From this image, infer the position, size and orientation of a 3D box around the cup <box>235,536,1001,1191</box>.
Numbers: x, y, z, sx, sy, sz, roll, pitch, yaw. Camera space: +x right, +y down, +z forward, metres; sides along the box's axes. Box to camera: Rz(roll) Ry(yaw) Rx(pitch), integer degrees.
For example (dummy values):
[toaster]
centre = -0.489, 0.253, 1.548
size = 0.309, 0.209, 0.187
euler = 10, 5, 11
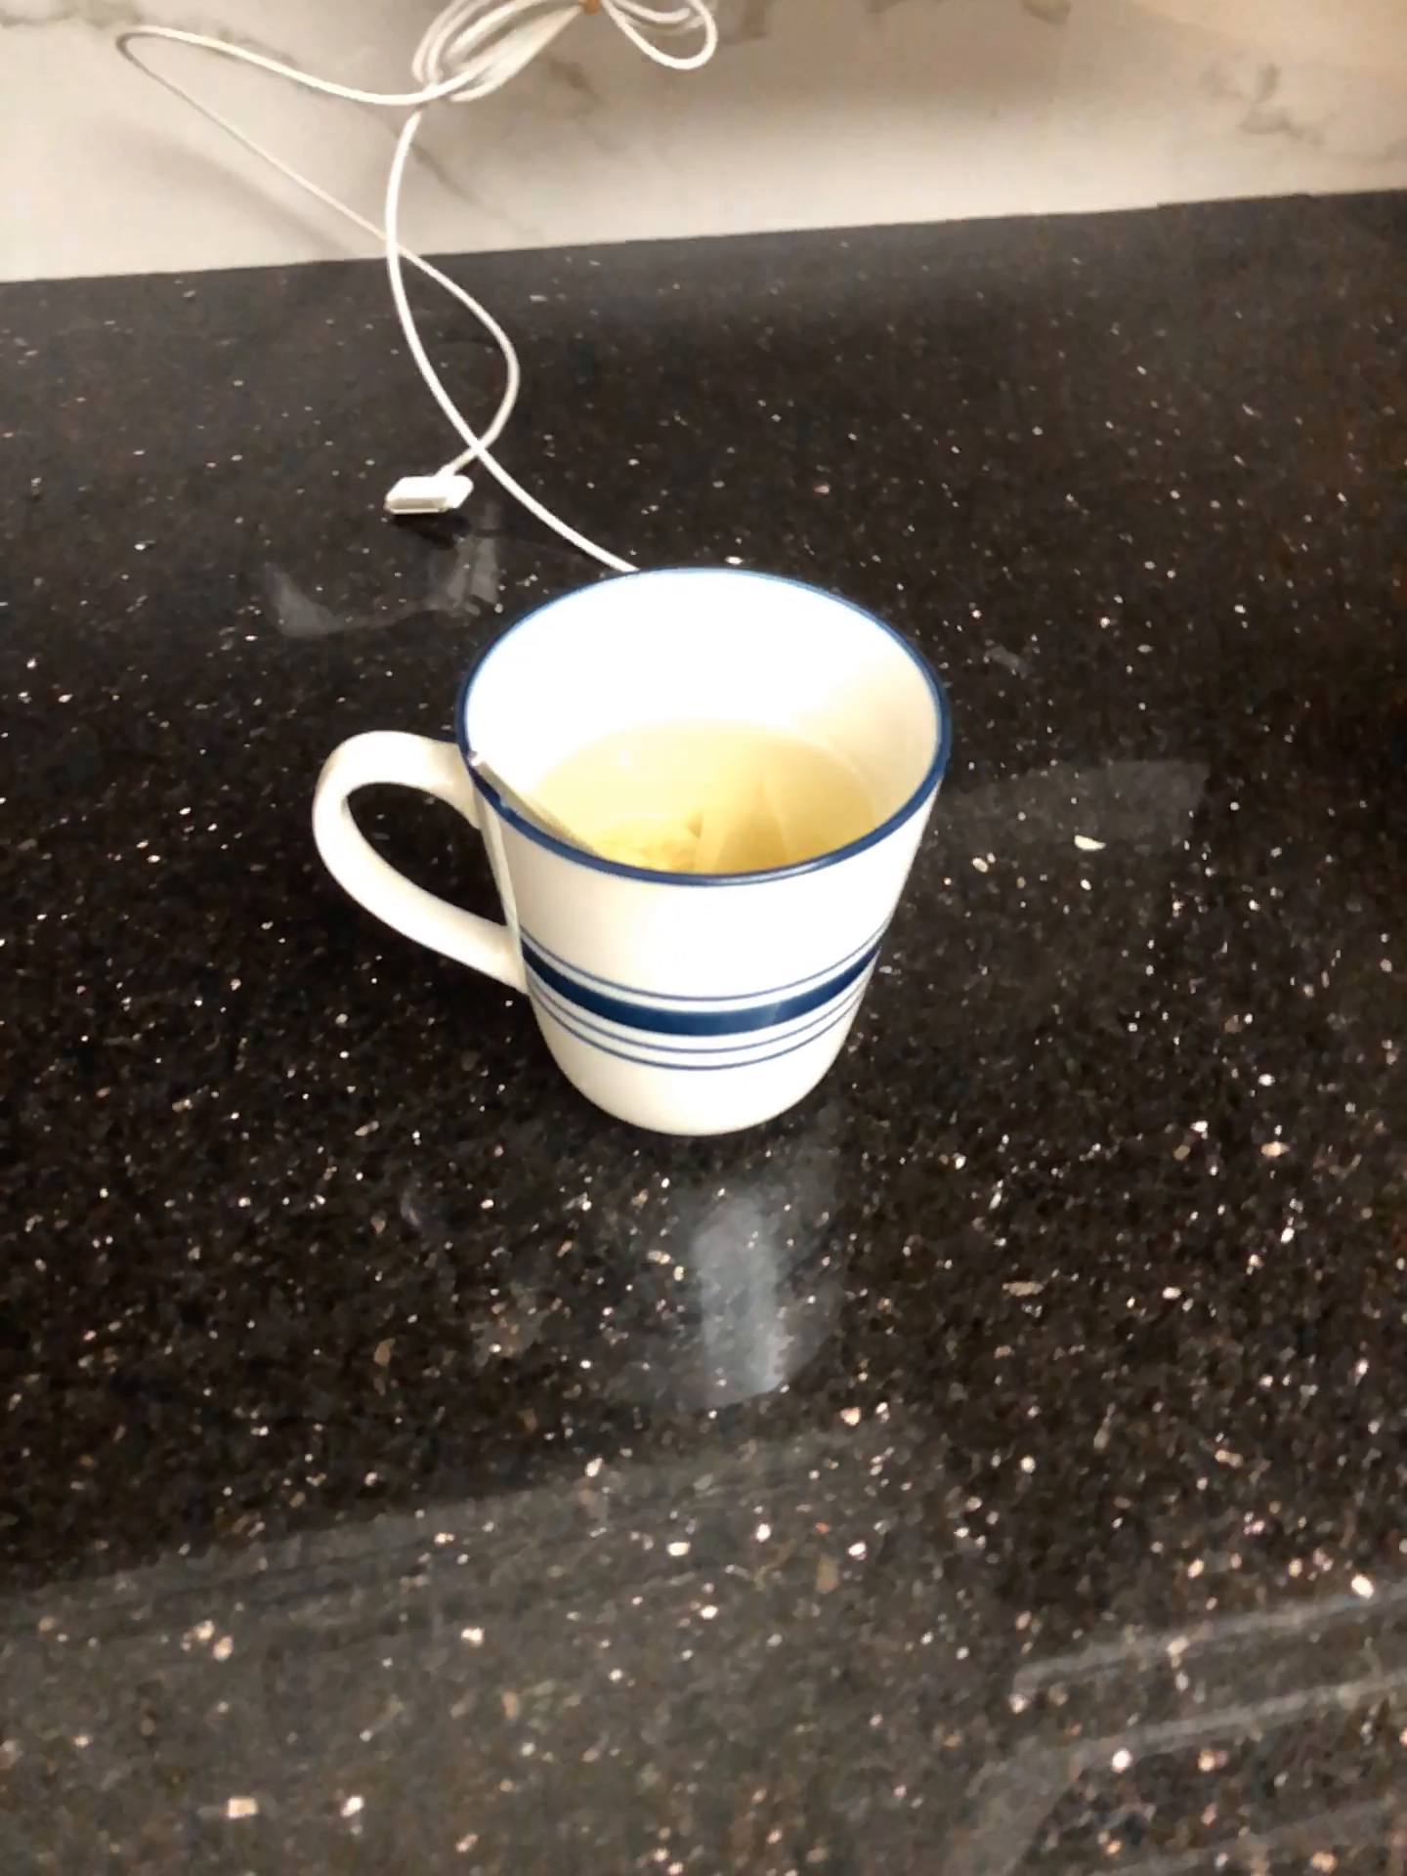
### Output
[cup]
centre = -0.012, -0.013, 0.302
size = 0.120, 0.090, 0.080
euler = 4, 48, 1
